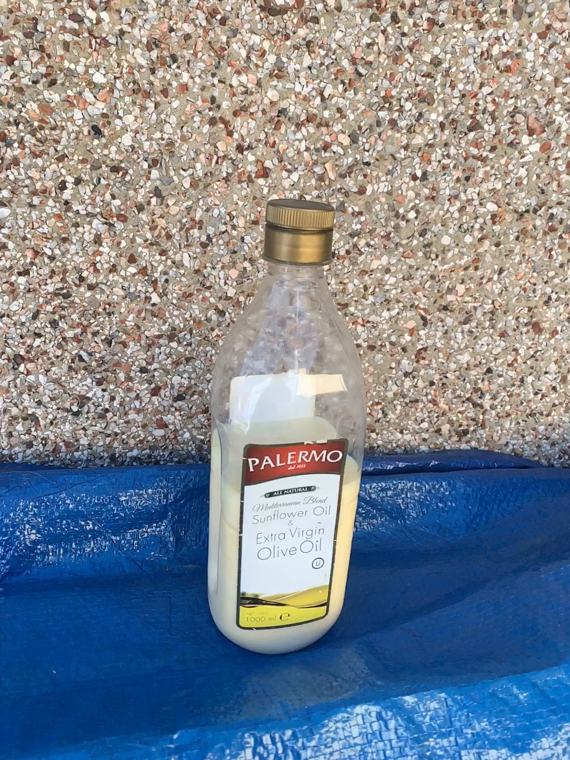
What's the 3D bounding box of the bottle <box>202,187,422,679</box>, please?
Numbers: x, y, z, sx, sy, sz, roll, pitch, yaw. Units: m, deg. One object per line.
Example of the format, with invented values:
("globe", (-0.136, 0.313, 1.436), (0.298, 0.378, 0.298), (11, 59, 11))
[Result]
("bottle", (0.001, 0.031, 0.304), (0.080, 0.238, 0.081), (2, 25, -1))
